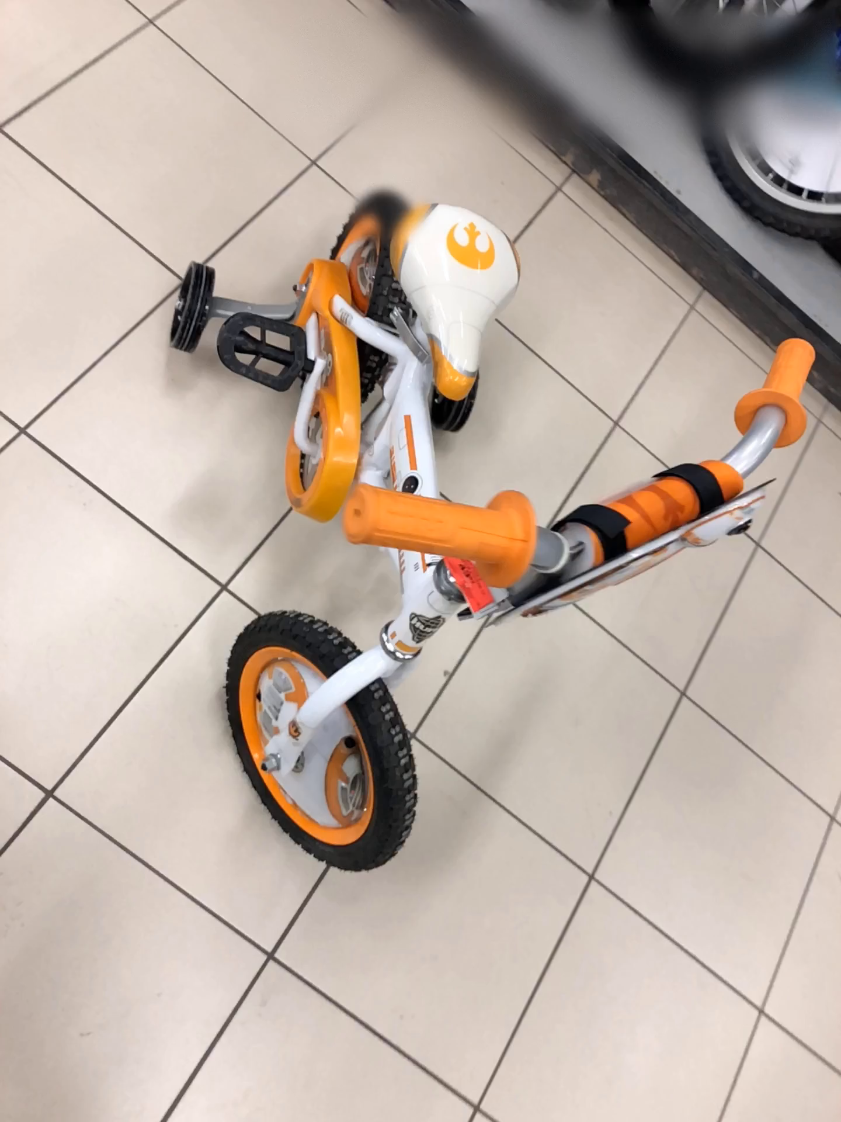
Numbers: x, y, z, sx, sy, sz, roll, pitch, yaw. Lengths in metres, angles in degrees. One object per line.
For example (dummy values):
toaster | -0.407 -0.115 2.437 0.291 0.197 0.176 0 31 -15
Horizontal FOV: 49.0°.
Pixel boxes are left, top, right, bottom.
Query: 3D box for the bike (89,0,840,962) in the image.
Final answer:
bike | -0.035 -0.138 0.899 0.435 0.715 0.815 4 73 -21
